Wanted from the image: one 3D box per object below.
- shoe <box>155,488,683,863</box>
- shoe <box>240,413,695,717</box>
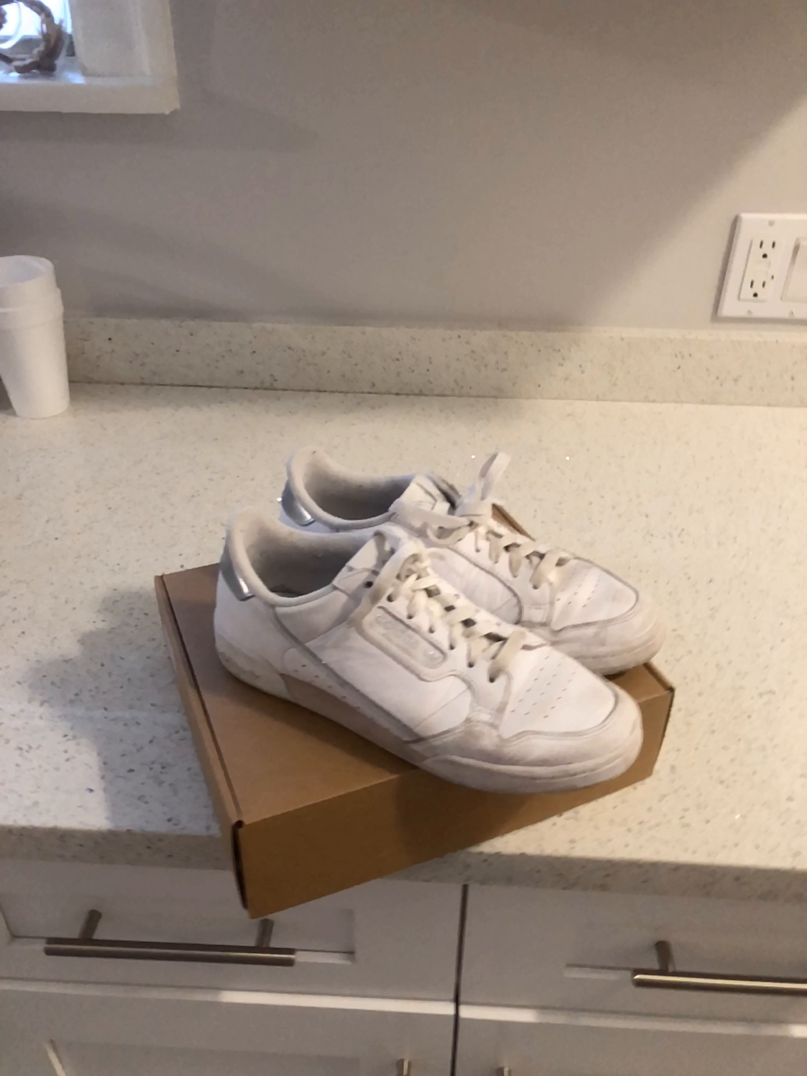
[{"bbox_3d":[0.007,0.067,0.512,0.268,0.100,0.107,14,36,19],"label":"shoe"},{"bbox_3d":[0.039,0.008,0.590,0.268,0.100,0.107,14,36,19],"label":"shoe"}]
